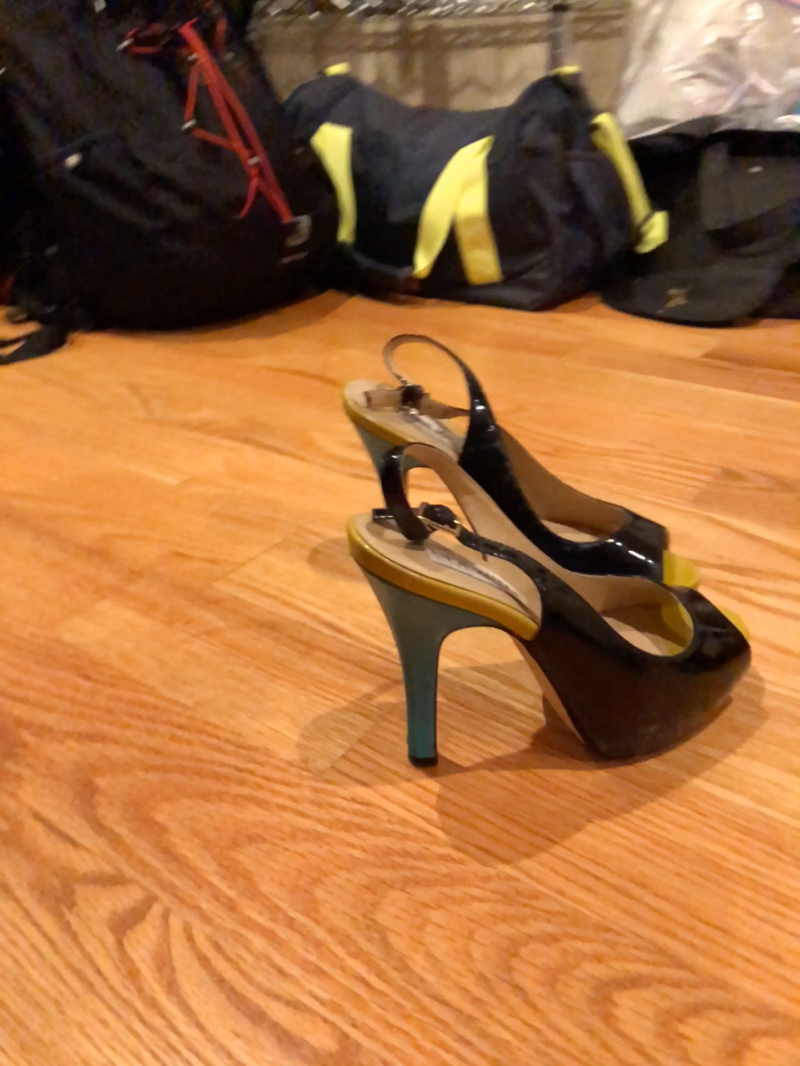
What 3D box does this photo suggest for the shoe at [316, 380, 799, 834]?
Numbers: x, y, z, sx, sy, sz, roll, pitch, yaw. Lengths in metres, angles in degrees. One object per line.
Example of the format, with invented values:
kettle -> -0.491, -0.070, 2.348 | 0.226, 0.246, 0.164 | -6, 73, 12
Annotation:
shoe -> 0.076, 0.023, 0.374 | 0.201, 0.131, 0.085 | -10, 29, -16

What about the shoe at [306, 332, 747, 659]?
shoe -> 0.065, -0.027, 0.468 | 0.204, 0.121, 0.085 | 9, 30, 19
